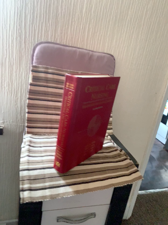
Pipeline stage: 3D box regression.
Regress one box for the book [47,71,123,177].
[{"bbox_3d":[0.012,0.019,0.563,0.060,0.288,0.251,23,22,32],"label":"book"}]
